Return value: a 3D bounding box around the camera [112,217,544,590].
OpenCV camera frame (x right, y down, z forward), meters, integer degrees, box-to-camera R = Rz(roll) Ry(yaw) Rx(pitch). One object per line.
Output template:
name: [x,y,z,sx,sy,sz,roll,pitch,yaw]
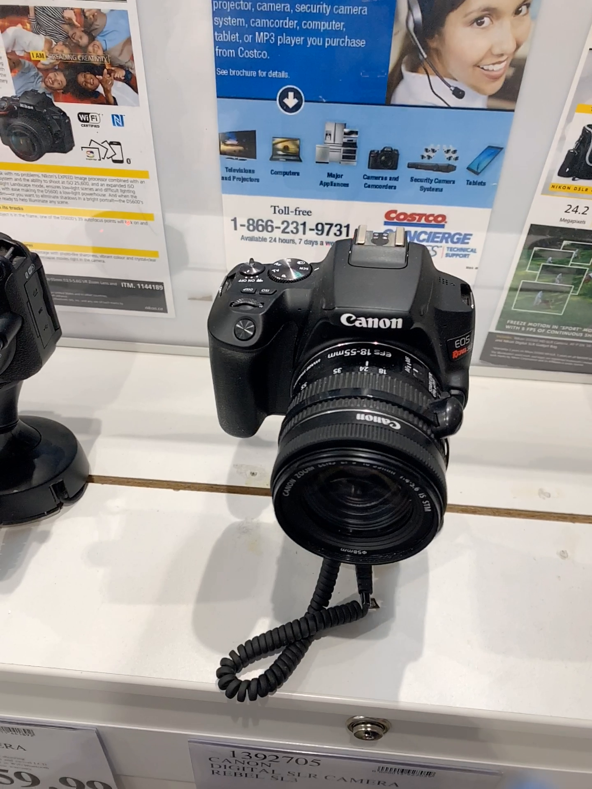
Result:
camera: [0.014,-0.002,0.241,0.120,0.089,0.111,3,41,6]
